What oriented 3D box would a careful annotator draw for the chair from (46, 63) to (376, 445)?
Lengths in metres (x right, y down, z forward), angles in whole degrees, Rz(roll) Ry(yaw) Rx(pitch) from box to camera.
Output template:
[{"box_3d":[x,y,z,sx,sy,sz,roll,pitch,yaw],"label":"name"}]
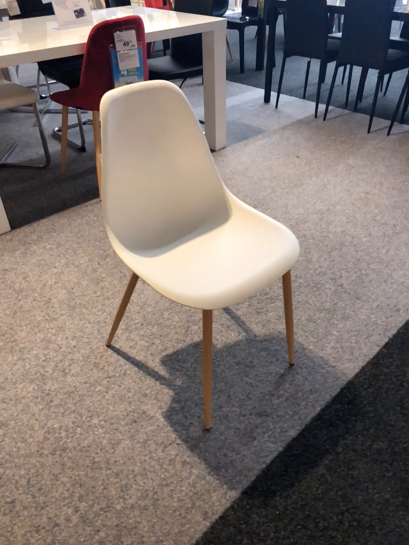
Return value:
[{"box_3d":[0.007,-0.093,1.367,0.573,0.845,0.601,-27,44,-31],"label":"chair"}]
